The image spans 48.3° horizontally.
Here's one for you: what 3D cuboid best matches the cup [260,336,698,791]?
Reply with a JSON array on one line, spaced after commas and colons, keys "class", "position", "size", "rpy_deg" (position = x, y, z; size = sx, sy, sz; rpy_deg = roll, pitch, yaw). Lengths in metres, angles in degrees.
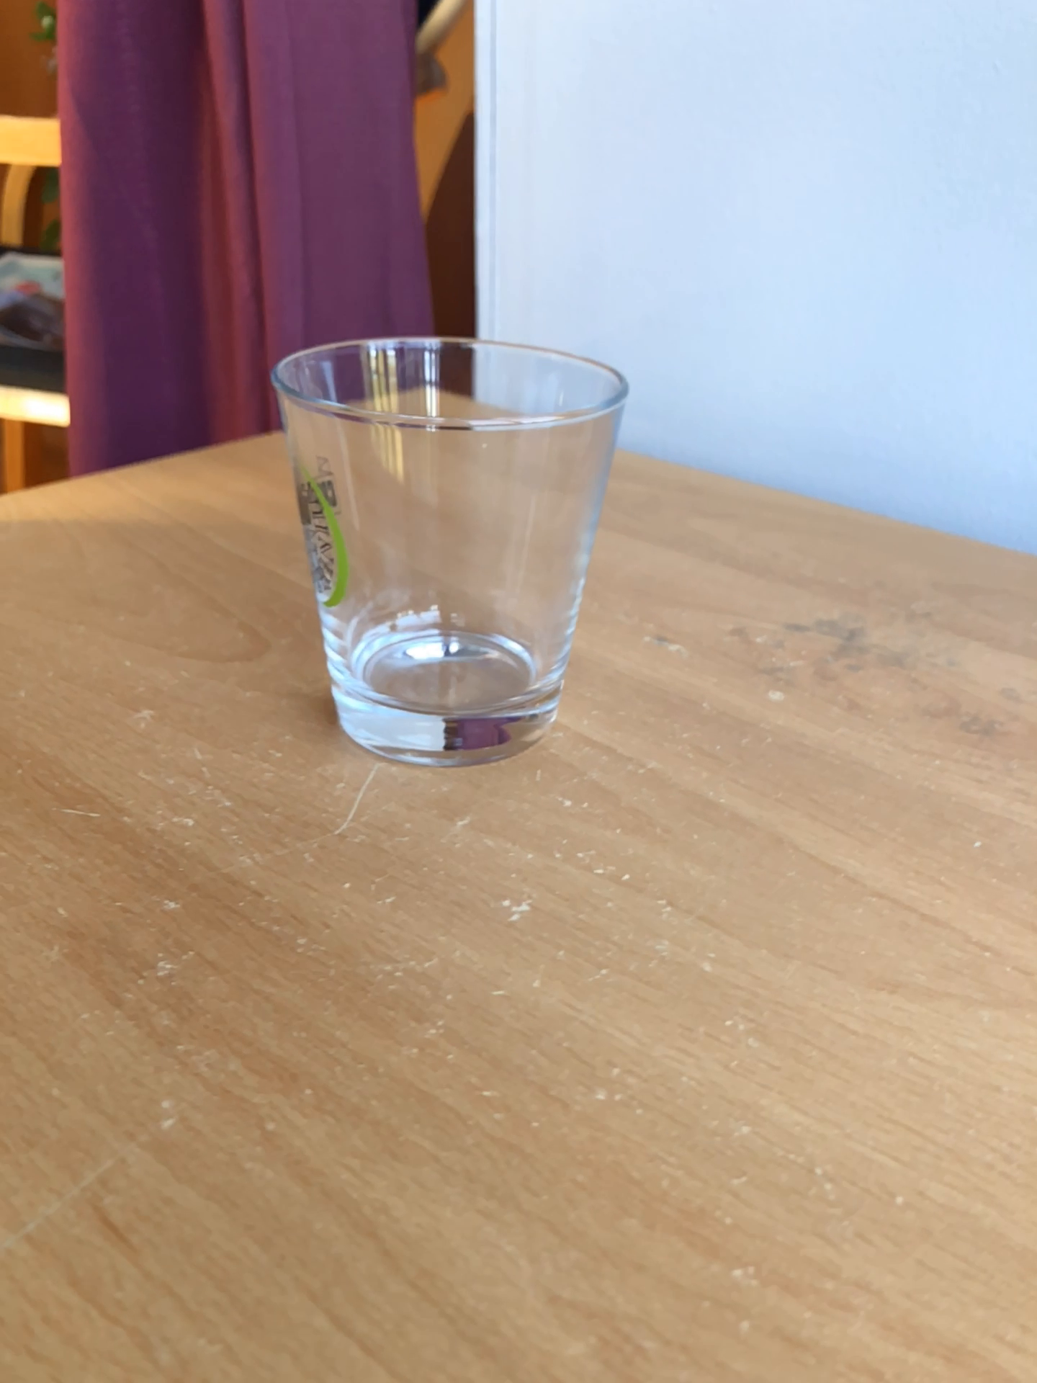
[{"class": "cup", "position": [-0.011, -0.032, 0.251], "size": [0.076, 0.073, 0.079], "rpy_deg": [2, 26, -1]}]
